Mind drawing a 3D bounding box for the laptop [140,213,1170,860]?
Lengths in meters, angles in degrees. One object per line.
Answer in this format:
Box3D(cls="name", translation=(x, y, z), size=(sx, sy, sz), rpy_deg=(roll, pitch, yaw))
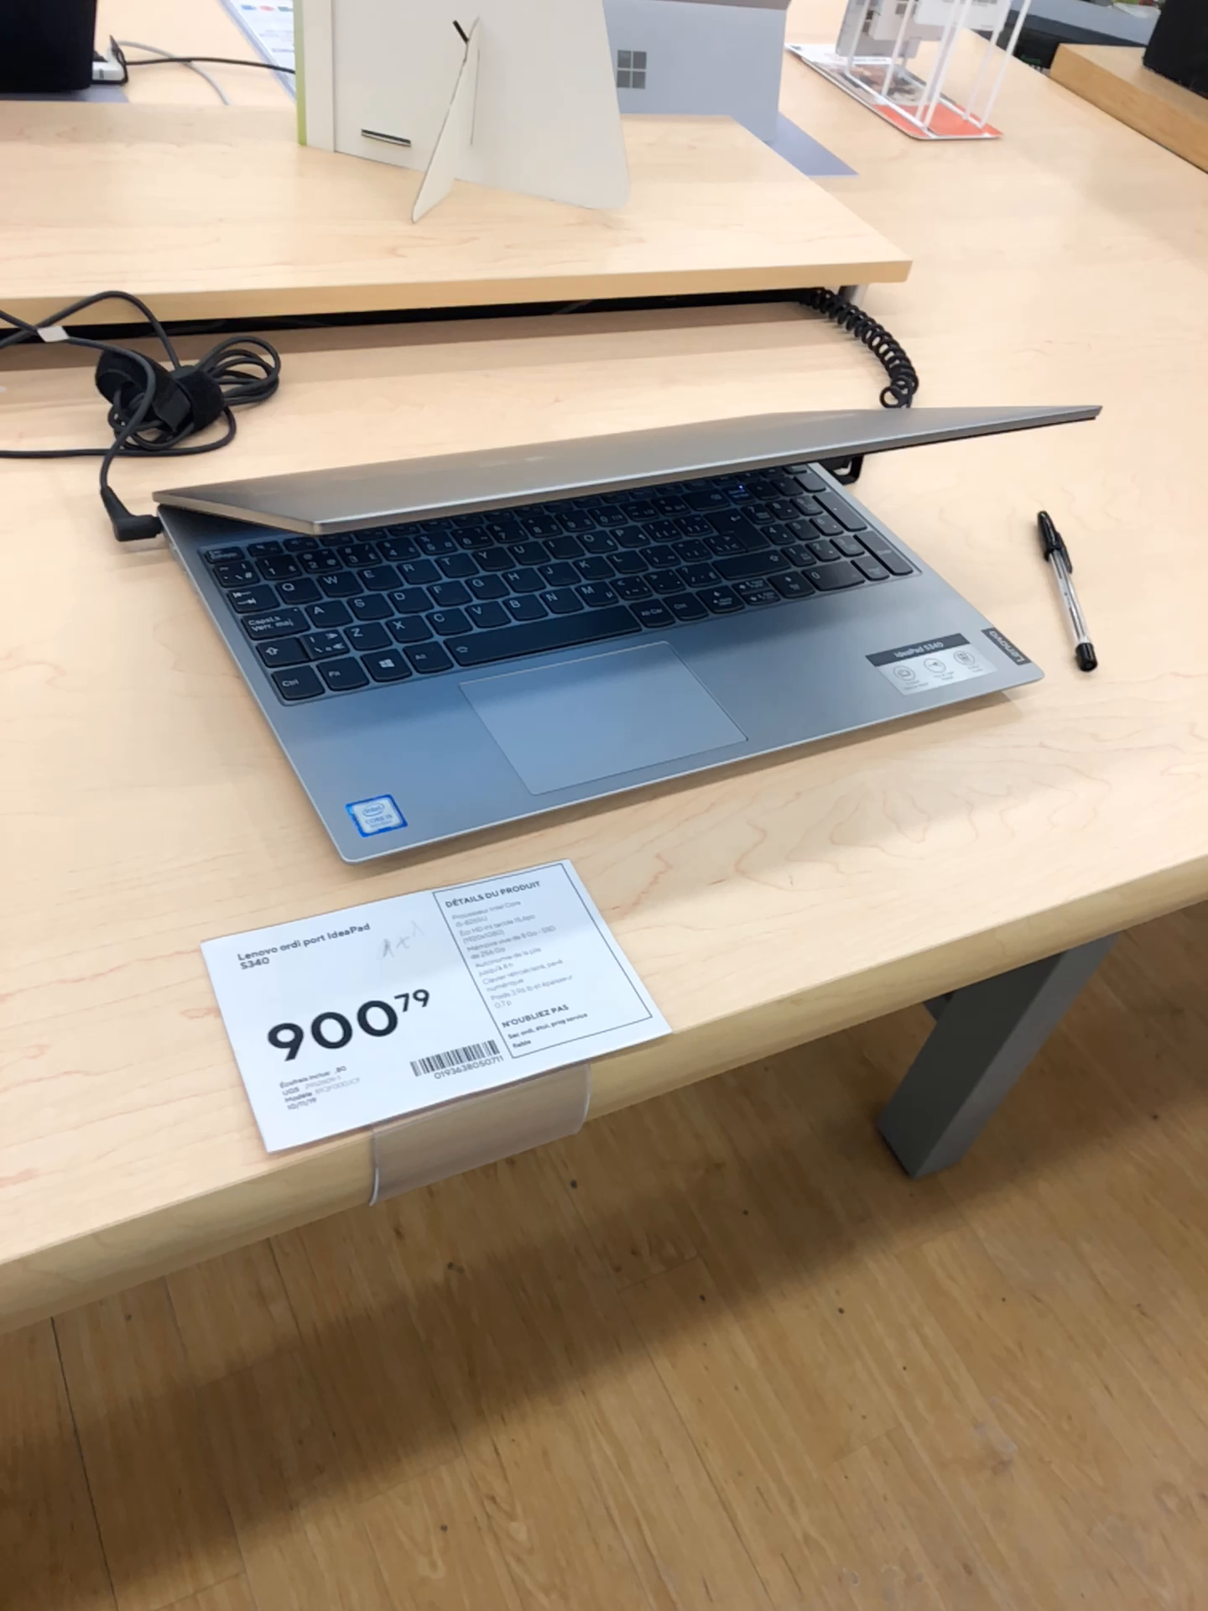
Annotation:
Box3D(cls="laptop", translation=(0.015, -0.142, 0.576), size=(0.352, 0.122, 0.234), rpy_deg=(-15, 51, -27))
